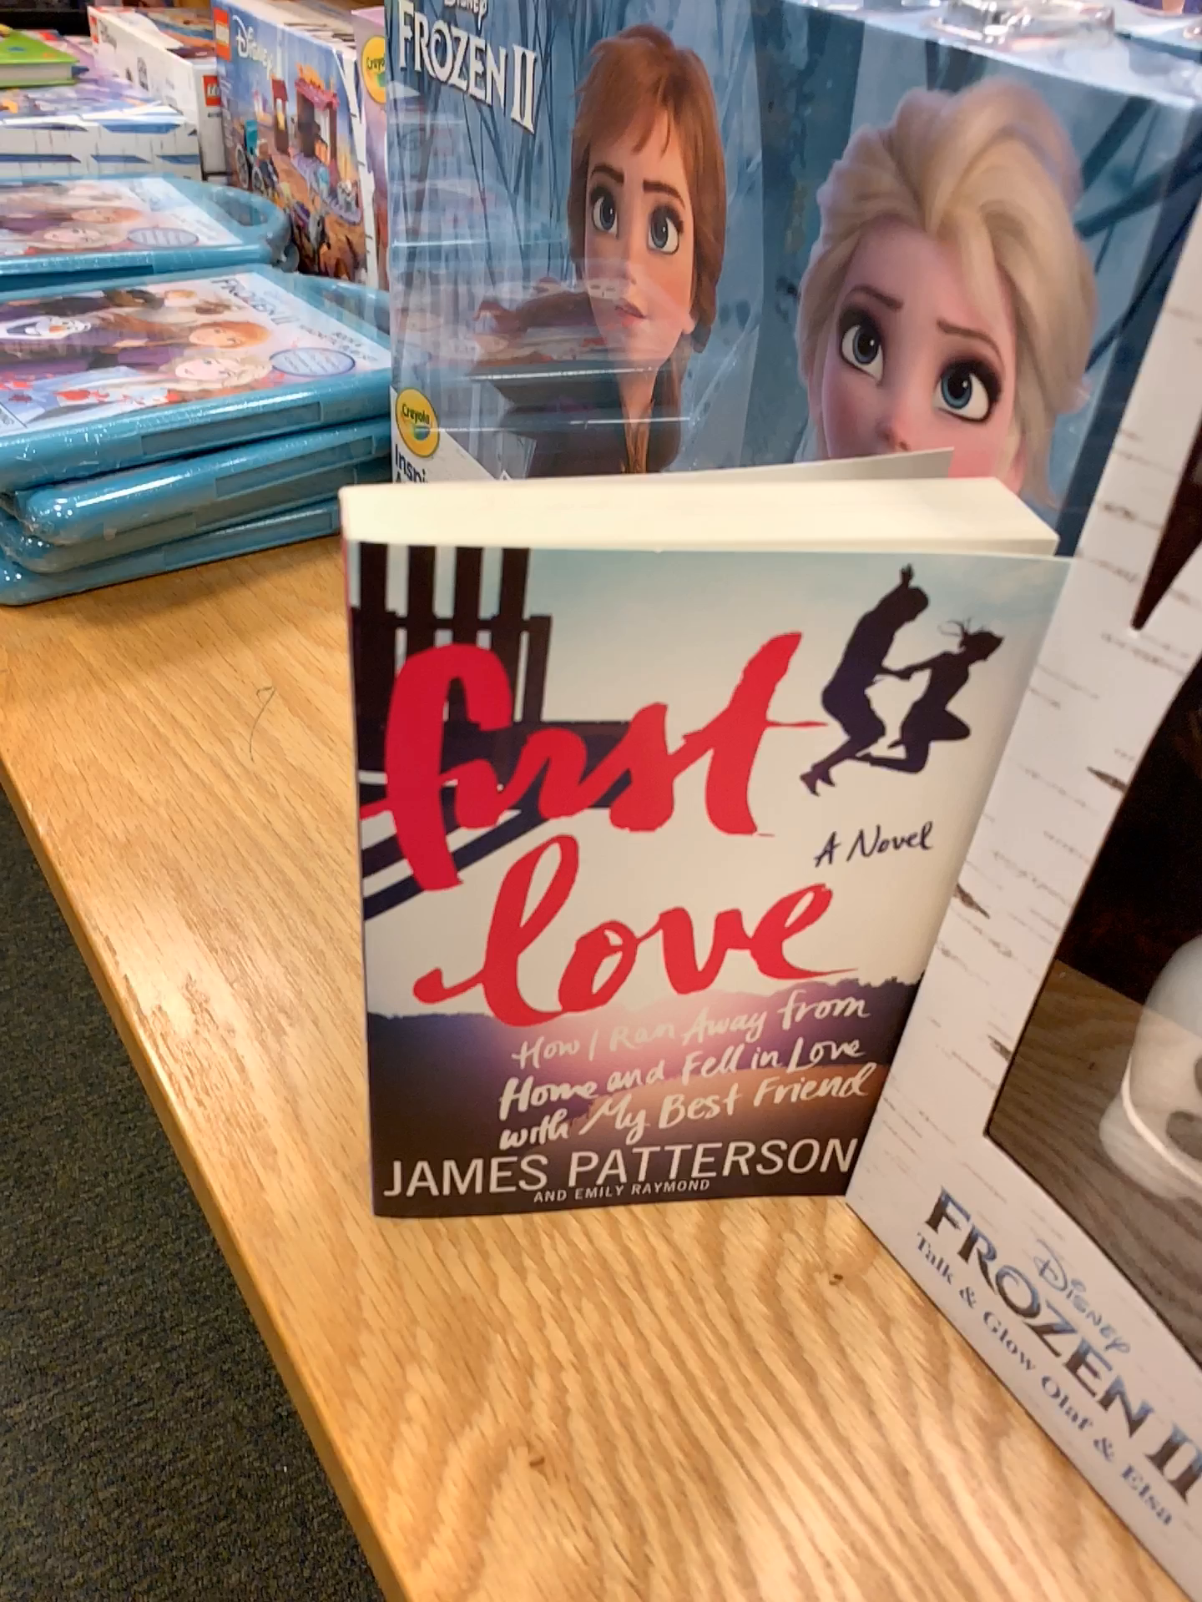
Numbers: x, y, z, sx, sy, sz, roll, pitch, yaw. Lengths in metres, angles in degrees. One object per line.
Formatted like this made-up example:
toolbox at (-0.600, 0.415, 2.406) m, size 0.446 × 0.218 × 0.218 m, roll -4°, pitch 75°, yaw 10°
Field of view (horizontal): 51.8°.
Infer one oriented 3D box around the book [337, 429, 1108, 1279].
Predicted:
book at (0.012, 0.022, 0.302) m, size 0.142 × 0.205 × 0.059 m, roll -2°, pitch 36°, yaw -11°
